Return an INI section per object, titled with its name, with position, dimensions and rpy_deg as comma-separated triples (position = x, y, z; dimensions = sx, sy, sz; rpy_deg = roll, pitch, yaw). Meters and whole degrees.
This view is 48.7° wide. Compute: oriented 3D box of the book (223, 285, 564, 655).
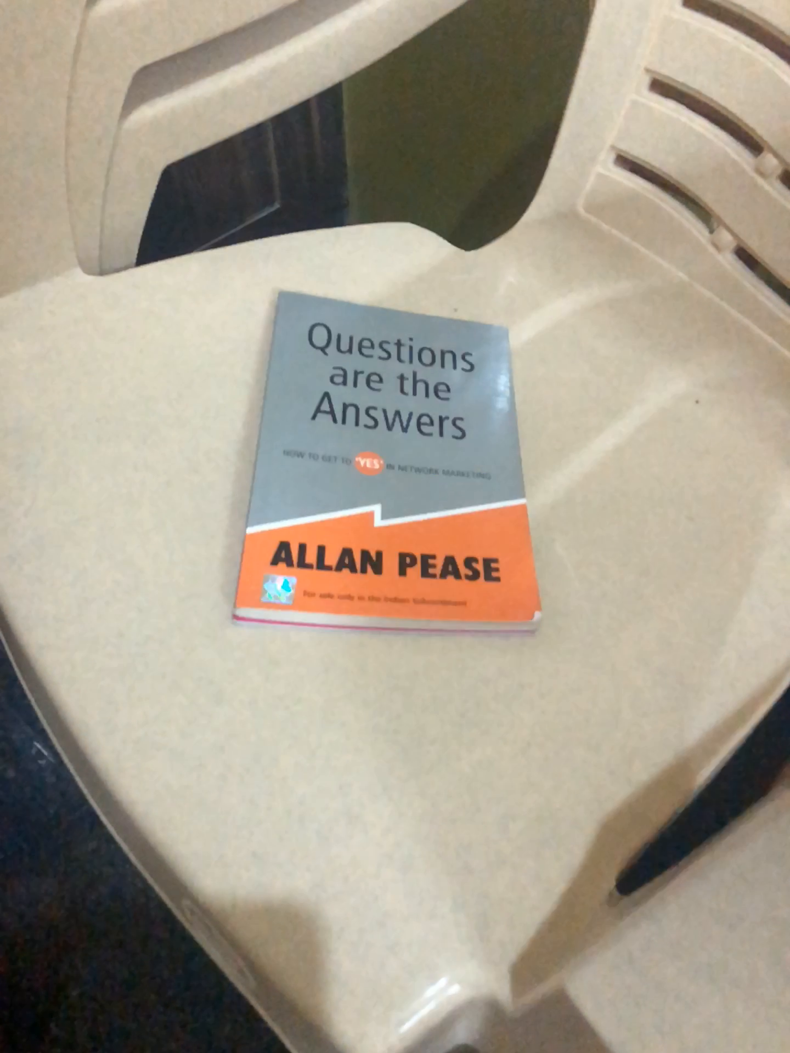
[book]
position = 0.001, -0.039, 0.449
dimensions = 0.150, 0.020, 0.211
rpy_deg = 5, 54, -6
